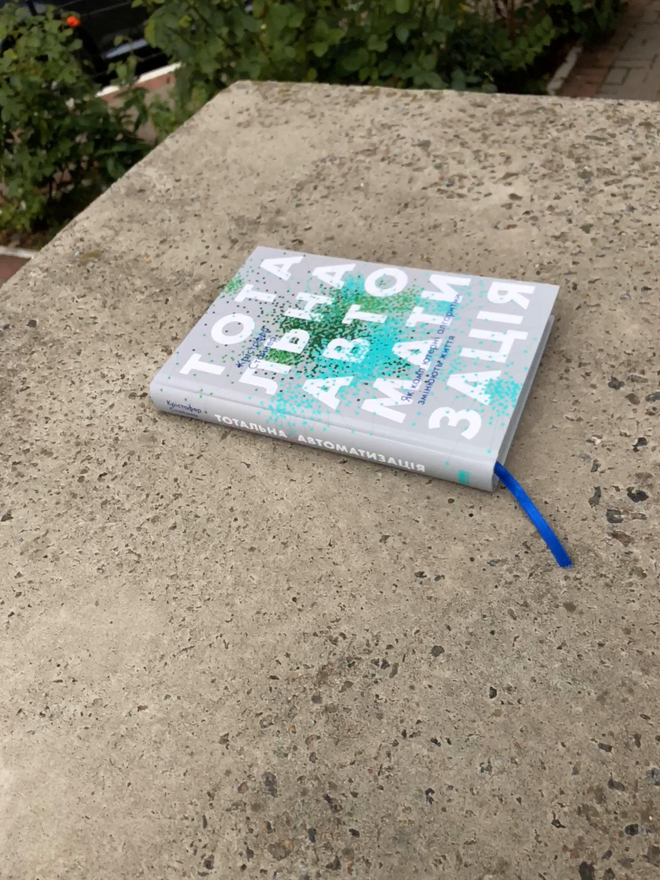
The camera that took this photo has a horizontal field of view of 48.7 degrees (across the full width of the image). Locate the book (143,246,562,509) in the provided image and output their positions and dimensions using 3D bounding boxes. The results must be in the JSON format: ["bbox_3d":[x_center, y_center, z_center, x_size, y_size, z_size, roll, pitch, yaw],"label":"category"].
[{"bbox_3d":[0.017,-0.052,0.461,0.220,0.030,0.151,14,53,21],"label":"book"}]
